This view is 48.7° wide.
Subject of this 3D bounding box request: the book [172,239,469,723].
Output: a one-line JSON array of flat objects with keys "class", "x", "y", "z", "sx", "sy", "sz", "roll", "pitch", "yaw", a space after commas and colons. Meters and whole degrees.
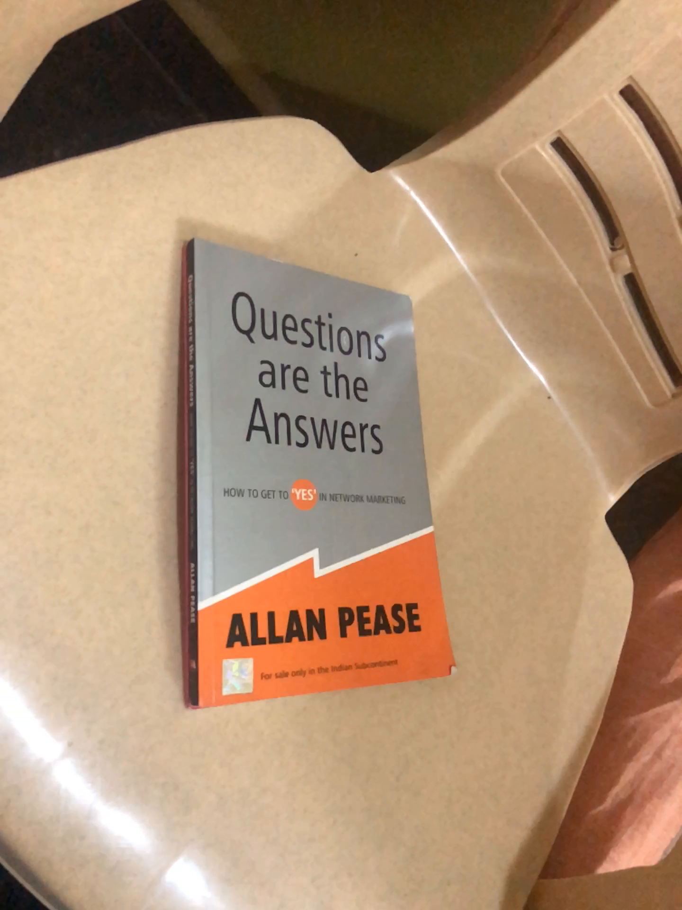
[{"class": "book", "x": -0.007, "y": 0.011, "z": 0.374, "sx": 0.151, "sy": 0.020, "sz": 0.210, "roll": 4, "pitch": 77, "yaw": -35}]
